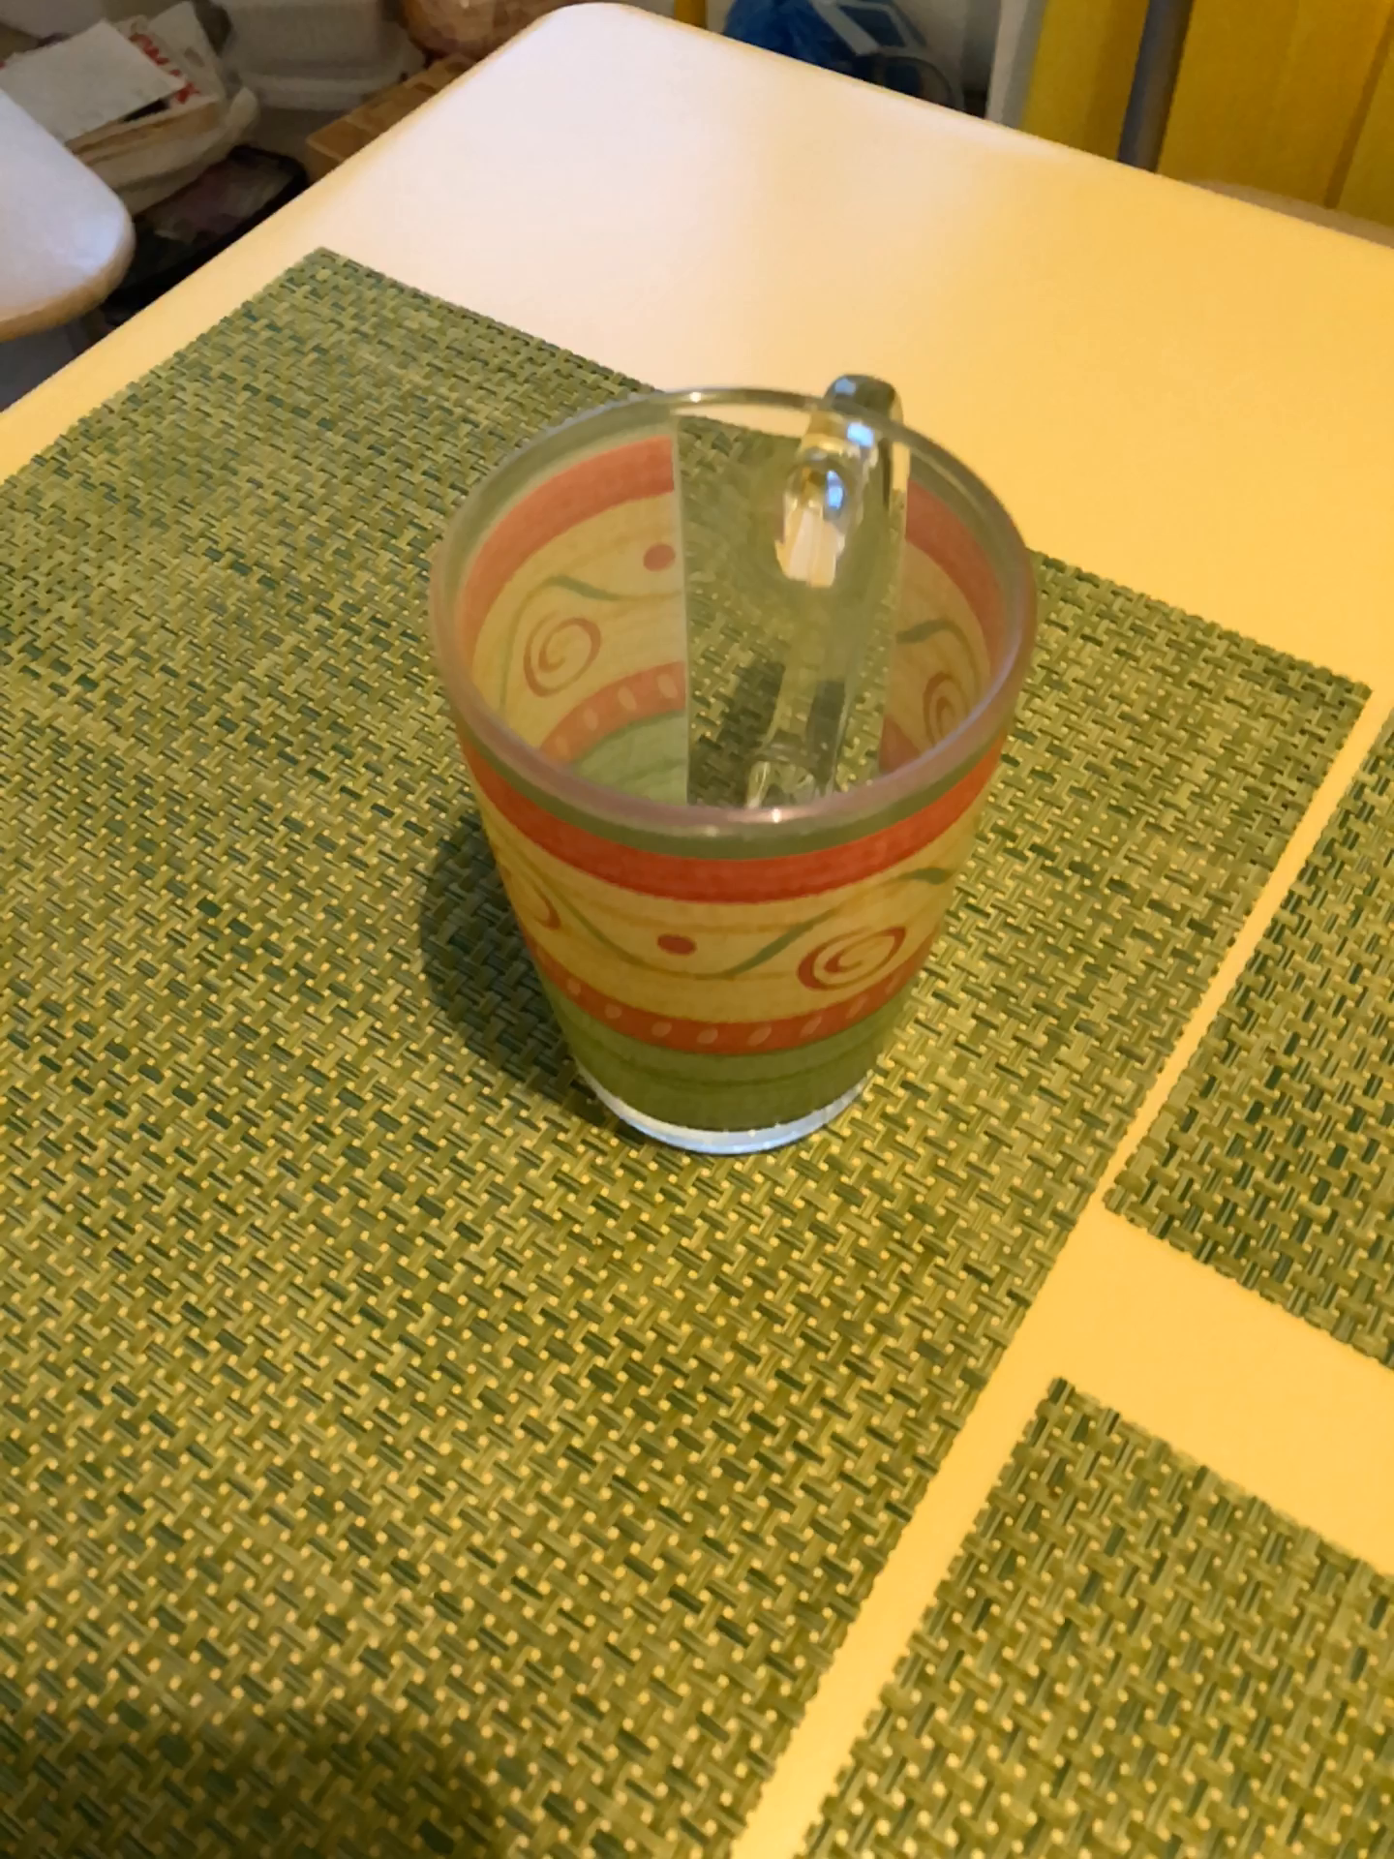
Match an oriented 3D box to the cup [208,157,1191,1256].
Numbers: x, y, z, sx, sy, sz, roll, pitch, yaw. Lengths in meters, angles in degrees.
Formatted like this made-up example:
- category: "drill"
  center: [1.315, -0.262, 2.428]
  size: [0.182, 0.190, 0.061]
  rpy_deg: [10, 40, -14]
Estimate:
- category: "cup"
  center: [0.008, -0.035, 0.236]
  size: [0.090, 0.090, 0.121]
  rpy_deg: [17, 58, 12]
